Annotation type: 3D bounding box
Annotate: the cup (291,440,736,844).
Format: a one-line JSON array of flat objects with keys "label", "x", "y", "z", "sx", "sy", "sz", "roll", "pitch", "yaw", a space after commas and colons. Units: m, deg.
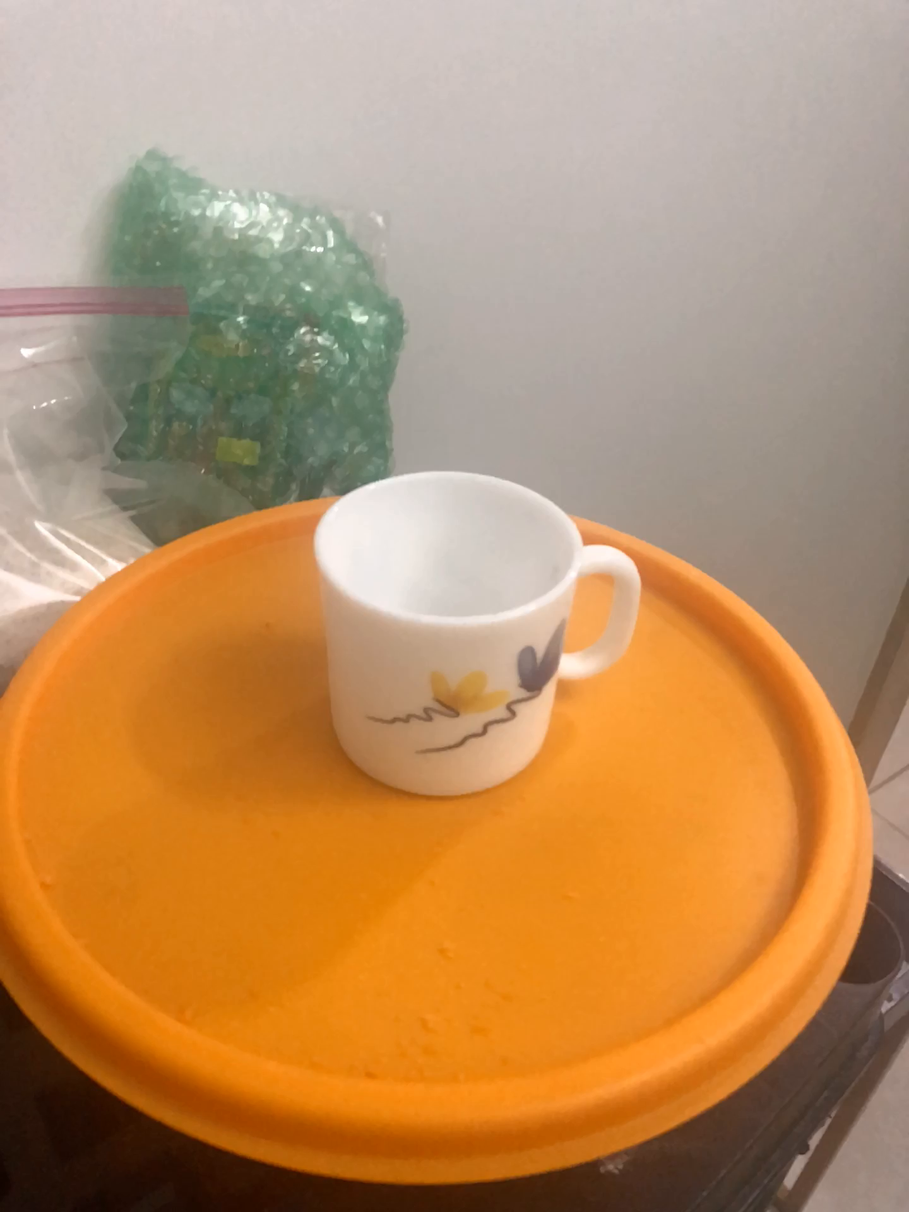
[{"label": "cup", "x": 0.010, "y": 0.006, "z": 0.295, "sx": 0.100, "sy": 0.070, "sz": 0.080, "roll": -8, "pitch": 38, "yaw": -16}]
